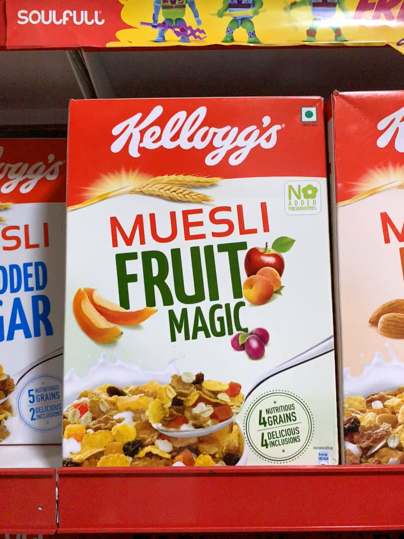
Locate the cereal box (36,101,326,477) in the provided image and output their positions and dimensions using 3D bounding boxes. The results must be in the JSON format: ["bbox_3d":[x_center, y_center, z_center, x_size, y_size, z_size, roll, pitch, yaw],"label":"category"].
[{"bbox_3d":[-0.014,0.009,0.302,0.180,0.240,0.060,0,-4,-1],"label":"cereal box"}]
